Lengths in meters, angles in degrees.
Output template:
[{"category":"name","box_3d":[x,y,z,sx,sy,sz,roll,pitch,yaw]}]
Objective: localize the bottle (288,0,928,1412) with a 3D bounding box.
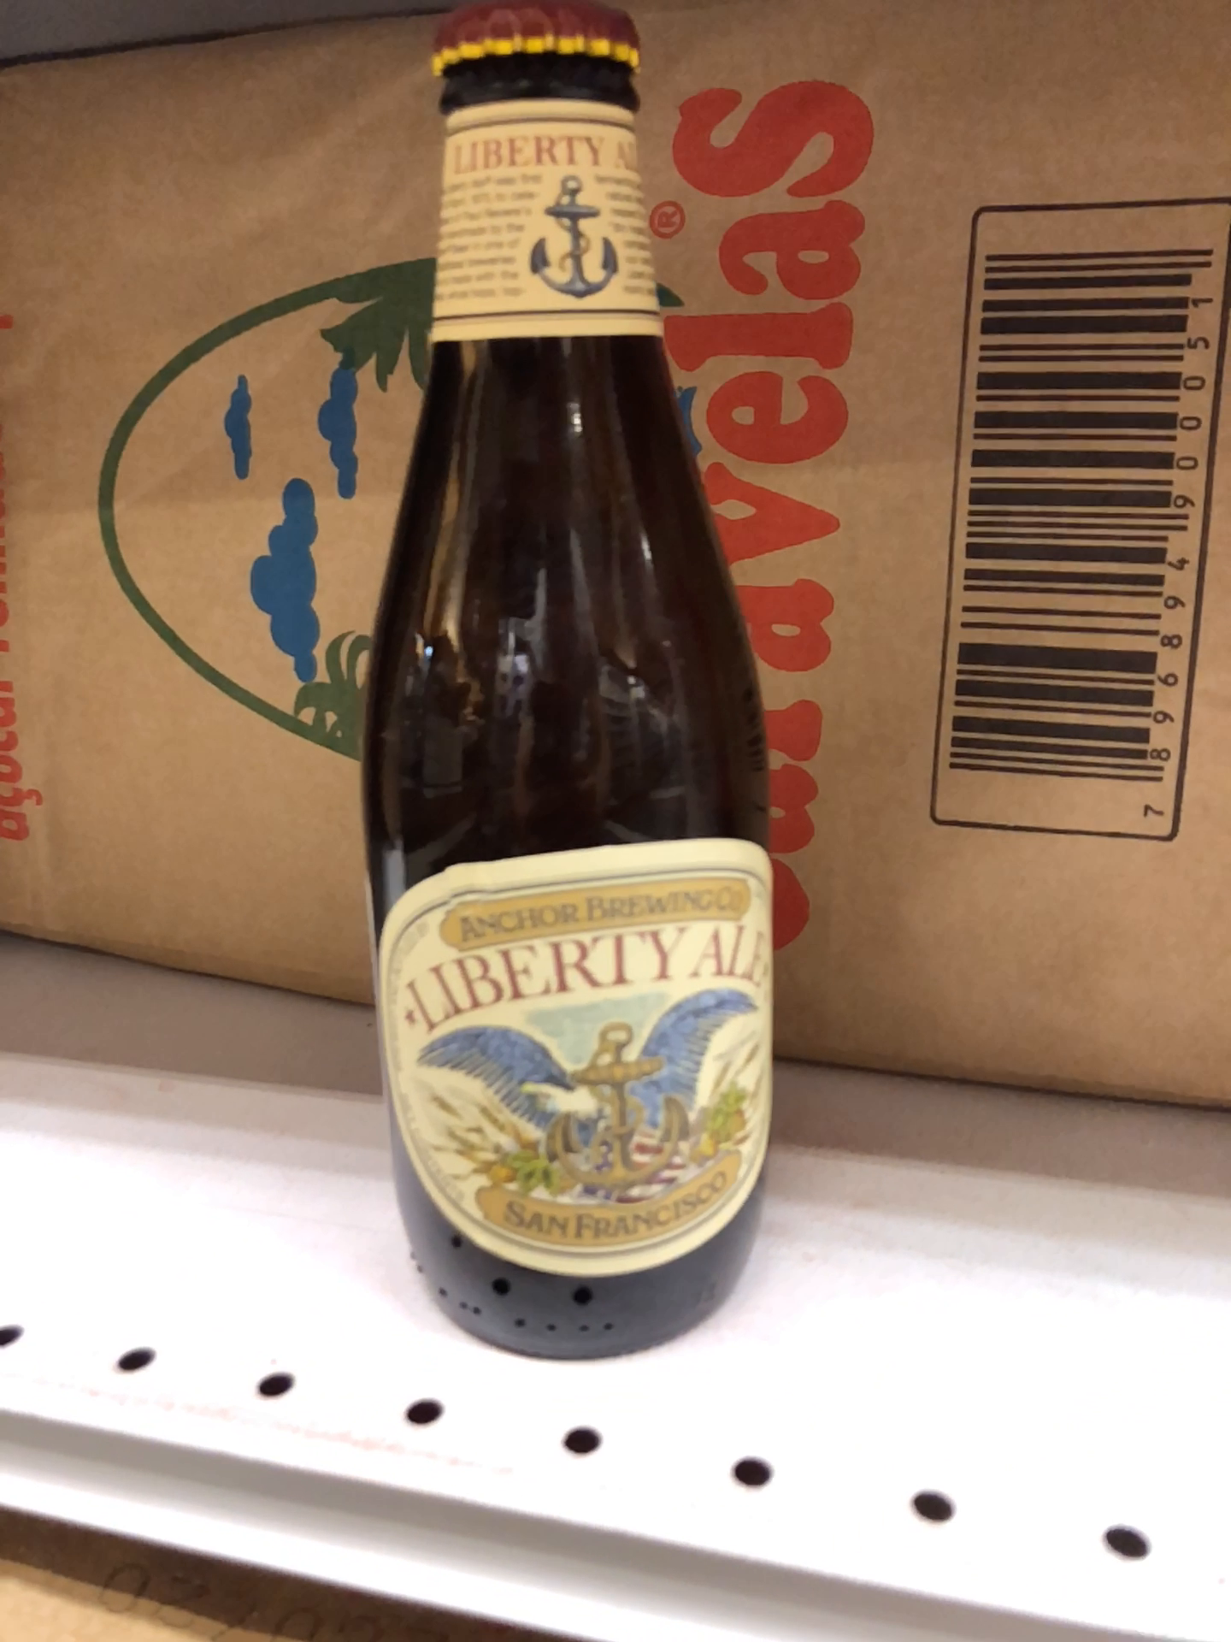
[{"category":"bottle","box_3d":[-0.003,-0.019,0.207,0.070,0.189,0.070,-1,16,0]}]
